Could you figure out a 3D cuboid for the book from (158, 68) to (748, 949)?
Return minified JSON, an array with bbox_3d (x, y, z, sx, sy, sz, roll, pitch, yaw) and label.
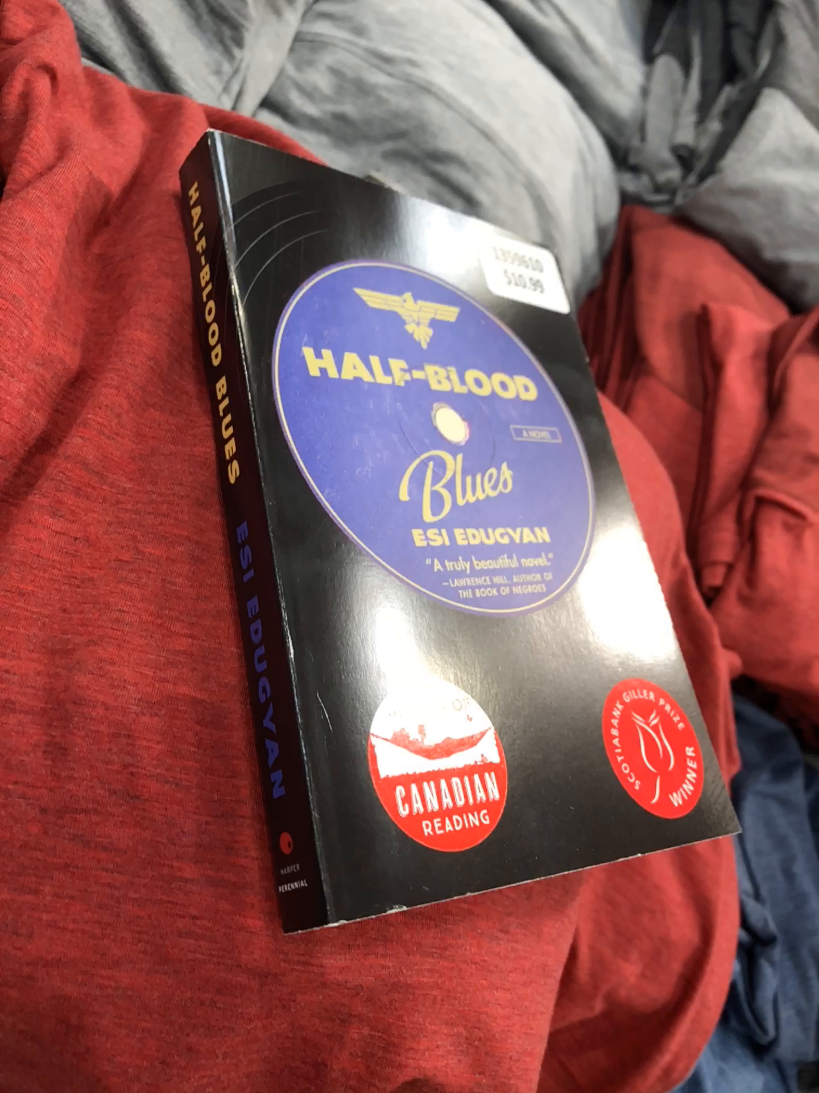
[{"bbox_3d":[0.012,-0.017,0.264,0.146,0.025,0.220,8,61,-41],"label":"book"}]
